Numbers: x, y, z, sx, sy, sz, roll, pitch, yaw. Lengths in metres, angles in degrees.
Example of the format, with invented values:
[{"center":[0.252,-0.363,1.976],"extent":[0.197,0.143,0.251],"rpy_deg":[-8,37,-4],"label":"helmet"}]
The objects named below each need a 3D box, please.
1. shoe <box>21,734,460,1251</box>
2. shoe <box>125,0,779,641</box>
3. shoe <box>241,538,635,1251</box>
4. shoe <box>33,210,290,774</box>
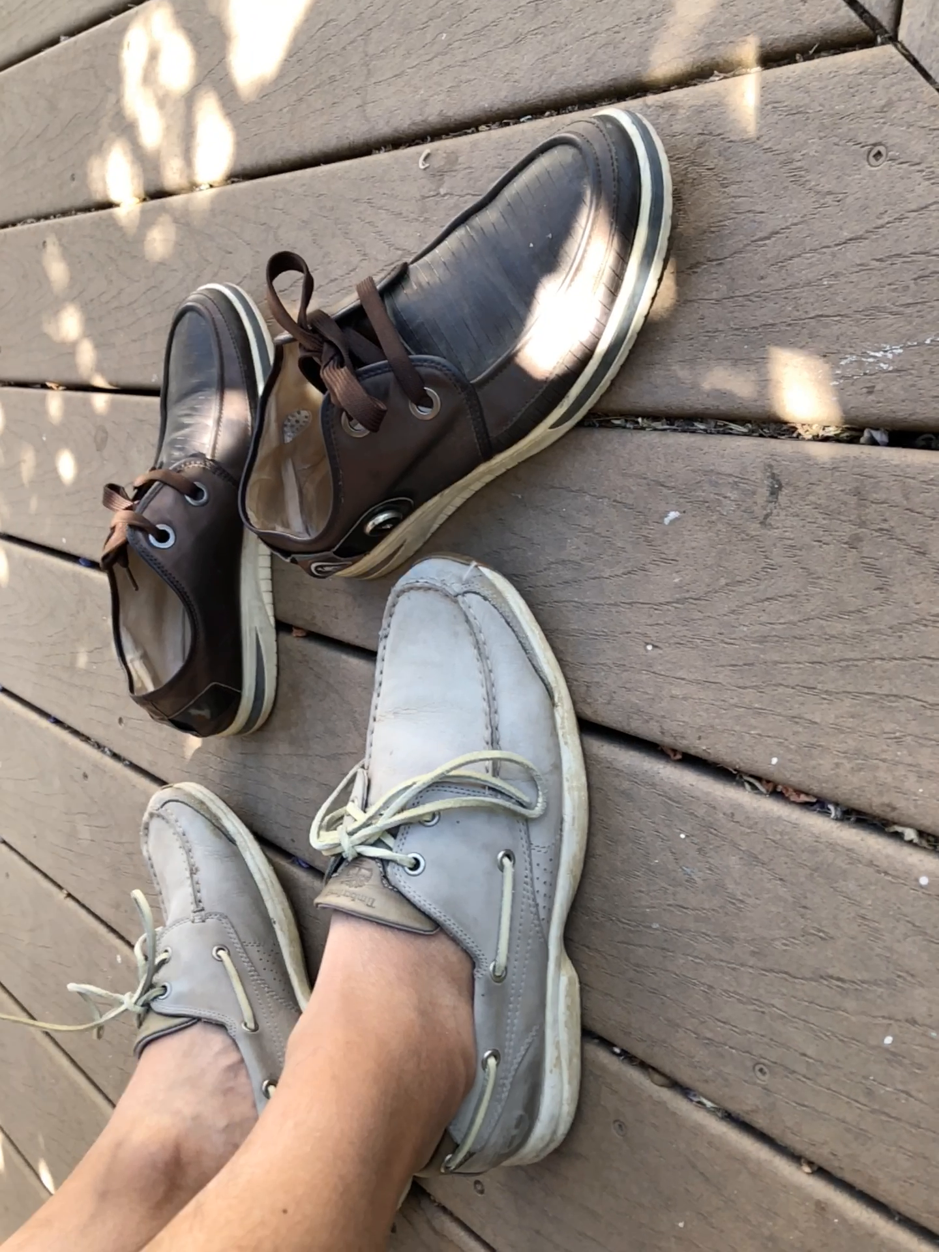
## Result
[{"center":[-0.149,0.220,0.614],"extent":[0.304,0.111,0.110],"rpy_deg":[54,126,29],"label":"shoe"},{"center":[-0.032,-0.118,0.475],"extent":[0.304,0.111,0.110],"rpy_deg":[-40,64,38],"label":"shoe"},{"center":[-0.016,0.120,0.477],"extent":[0.111,0.111,0.303],"rpy_deg":[-8,85,45],"label":"shoe"},{"center":[-0.190,-0.074,0.637],"extent":[0.111,0.111,0.303],"rpy_deg":[3,93,45],"label":"shoe"}]
